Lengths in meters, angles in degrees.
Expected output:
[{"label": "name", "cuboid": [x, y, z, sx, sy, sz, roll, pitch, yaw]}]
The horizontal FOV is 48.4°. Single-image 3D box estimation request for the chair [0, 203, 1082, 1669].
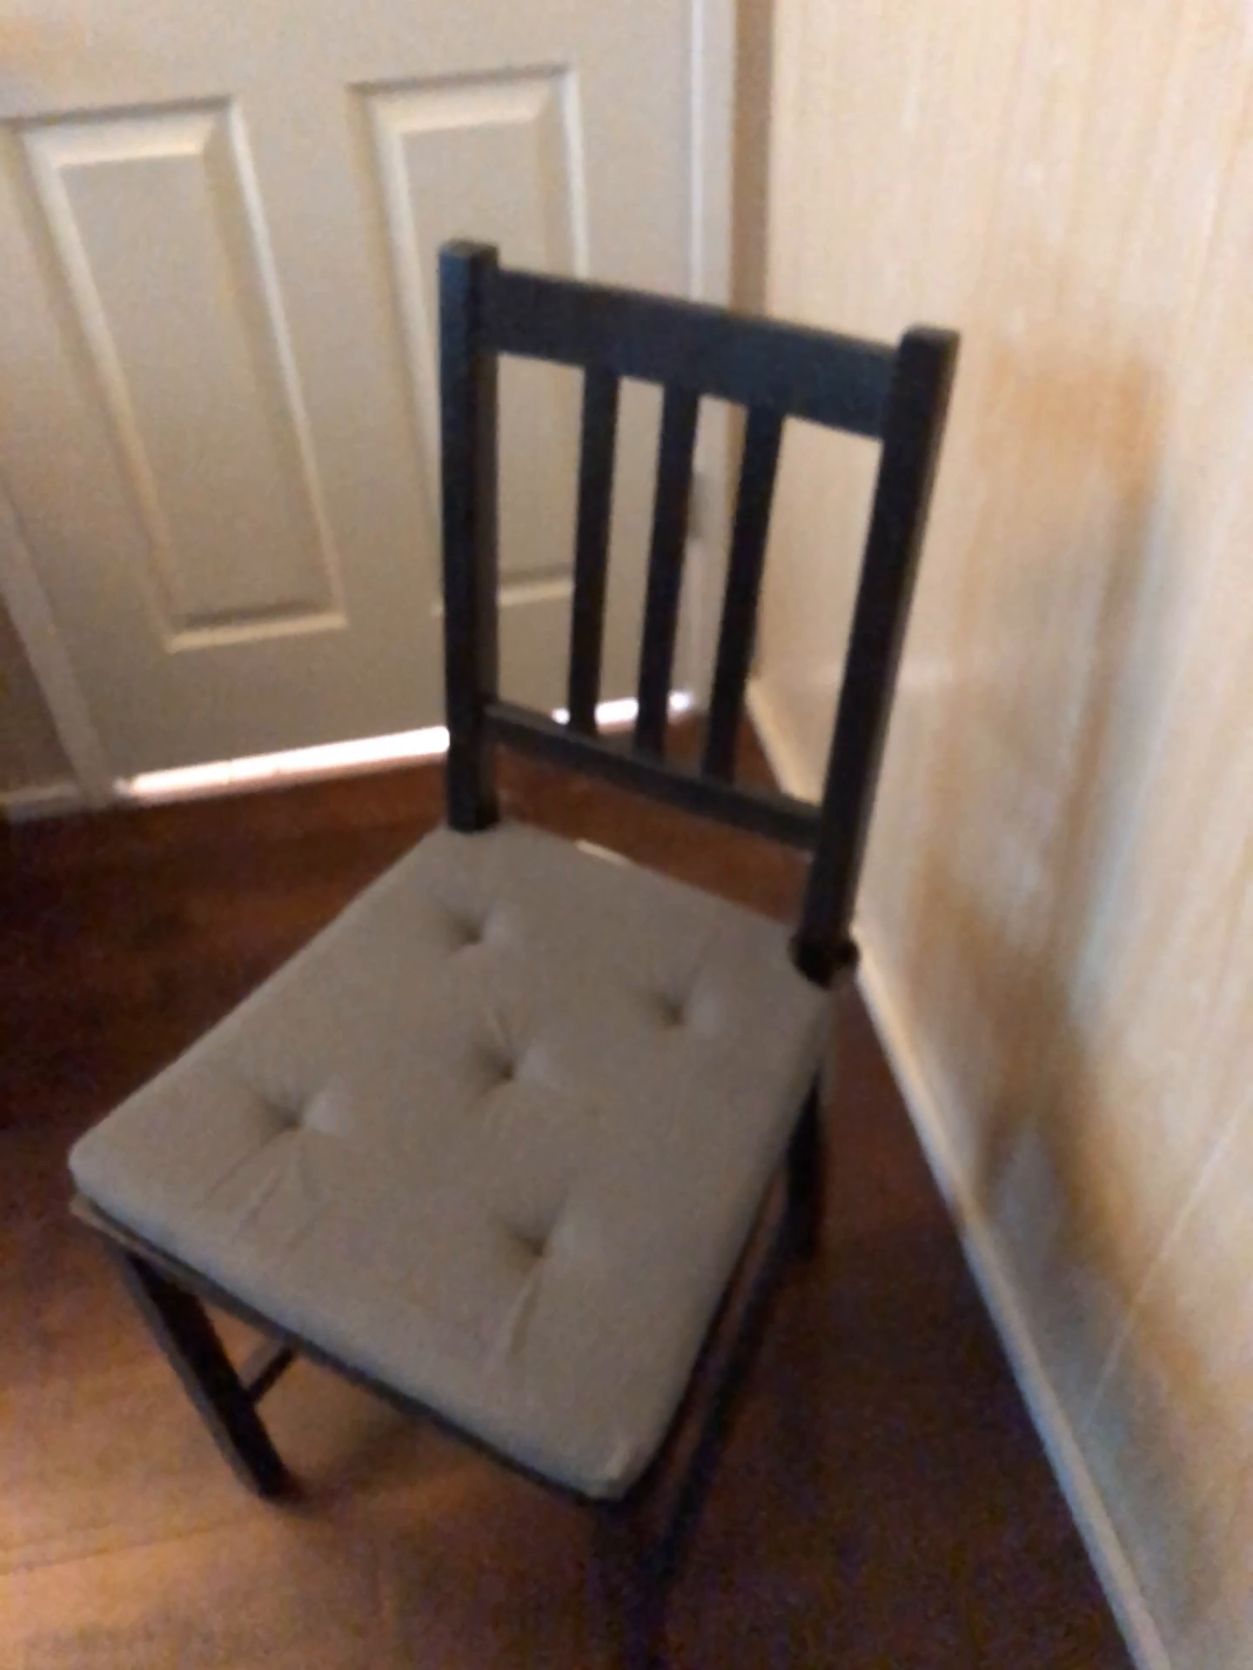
[{"label": "chair", "cuboid": [-0.073, 0.138, 0.913, 0.441, 0.834, 0.512, 20, 49, 21]}]
